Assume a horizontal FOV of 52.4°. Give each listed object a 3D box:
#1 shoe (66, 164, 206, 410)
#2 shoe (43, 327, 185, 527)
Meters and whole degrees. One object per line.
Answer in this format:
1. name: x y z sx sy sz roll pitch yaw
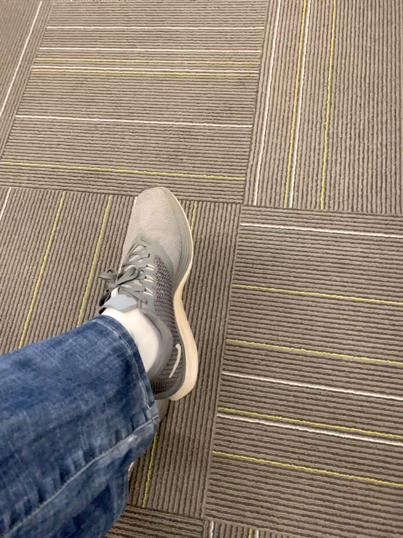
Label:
1. shoe: -0.088 0.031 0.565 0.127 0.115 0.298 -20 61 34
2. shoe: -0.155 0.299 0.818 0.124 0.180 0.310 15 73 13
